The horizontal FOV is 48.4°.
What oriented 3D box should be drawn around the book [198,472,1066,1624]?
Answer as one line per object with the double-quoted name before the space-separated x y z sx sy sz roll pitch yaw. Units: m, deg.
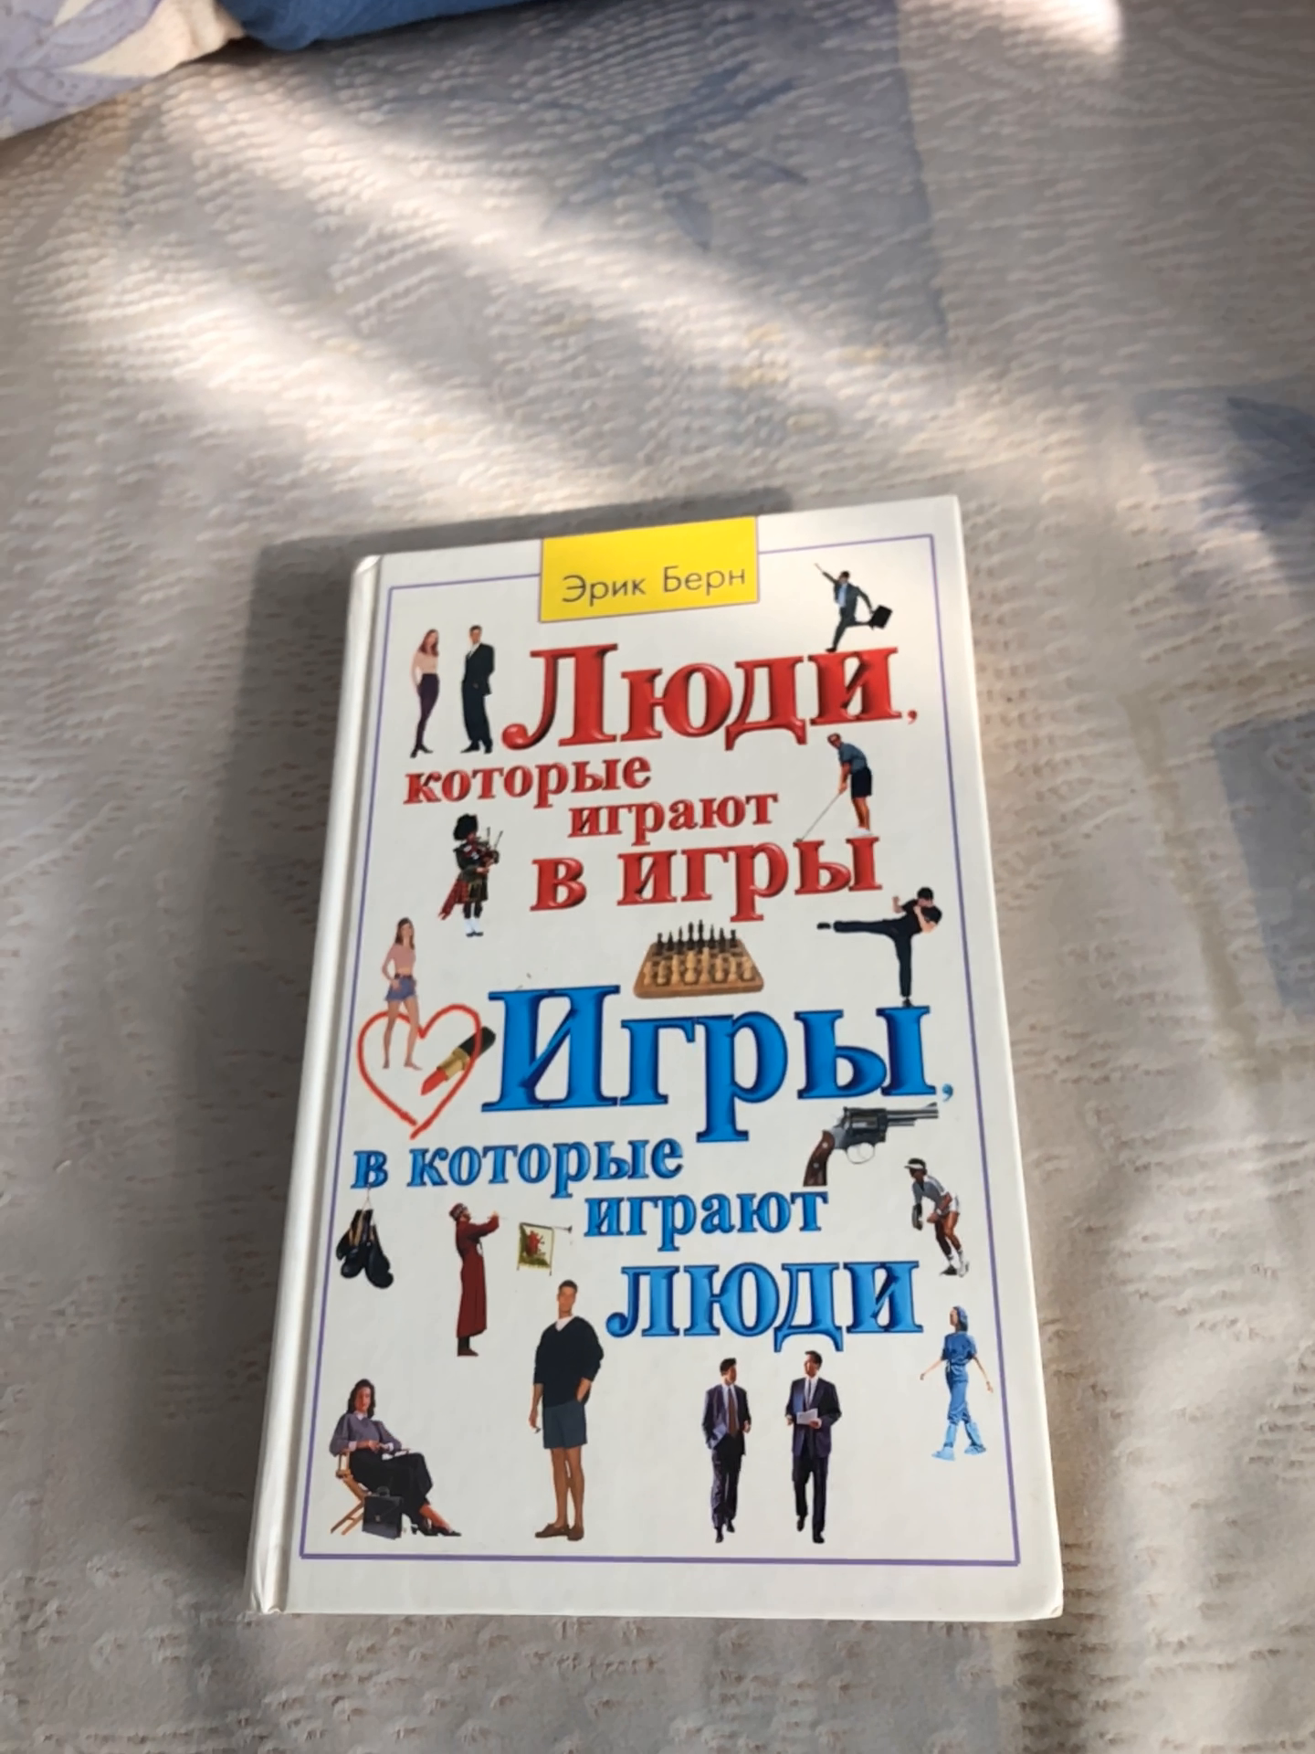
"book" -0.004 0.023 0.280 0.135 0.030 0.211 -3 67 7
